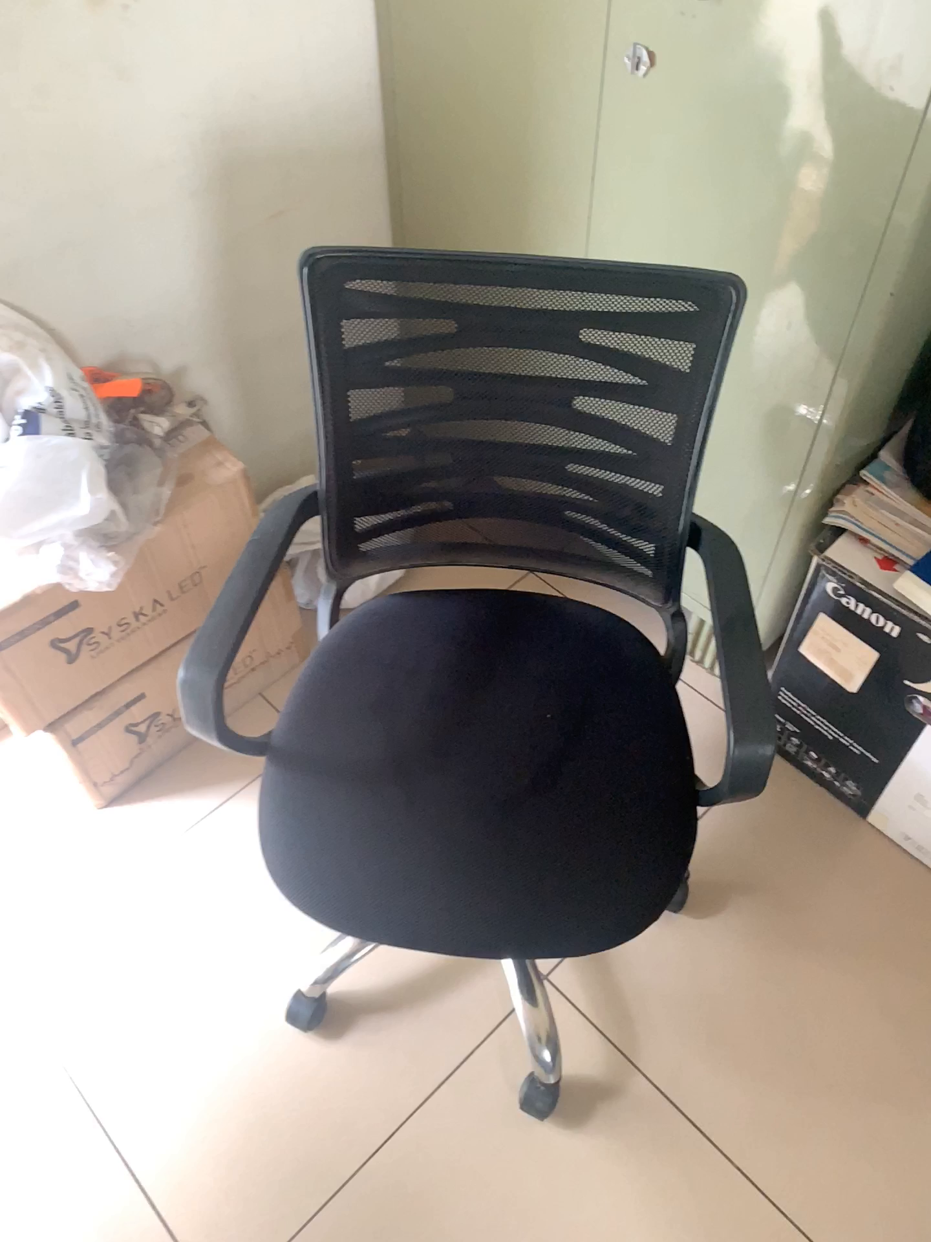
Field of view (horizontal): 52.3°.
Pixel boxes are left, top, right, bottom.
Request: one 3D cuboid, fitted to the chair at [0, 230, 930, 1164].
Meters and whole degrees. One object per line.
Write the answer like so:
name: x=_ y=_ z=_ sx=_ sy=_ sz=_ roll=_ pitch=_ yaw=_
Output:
chair: x=0.040 y=0.166 z=1.189 sx=0.680 sy=0.997 sz=0.652 roll=5 pitch=50 yaw=5
